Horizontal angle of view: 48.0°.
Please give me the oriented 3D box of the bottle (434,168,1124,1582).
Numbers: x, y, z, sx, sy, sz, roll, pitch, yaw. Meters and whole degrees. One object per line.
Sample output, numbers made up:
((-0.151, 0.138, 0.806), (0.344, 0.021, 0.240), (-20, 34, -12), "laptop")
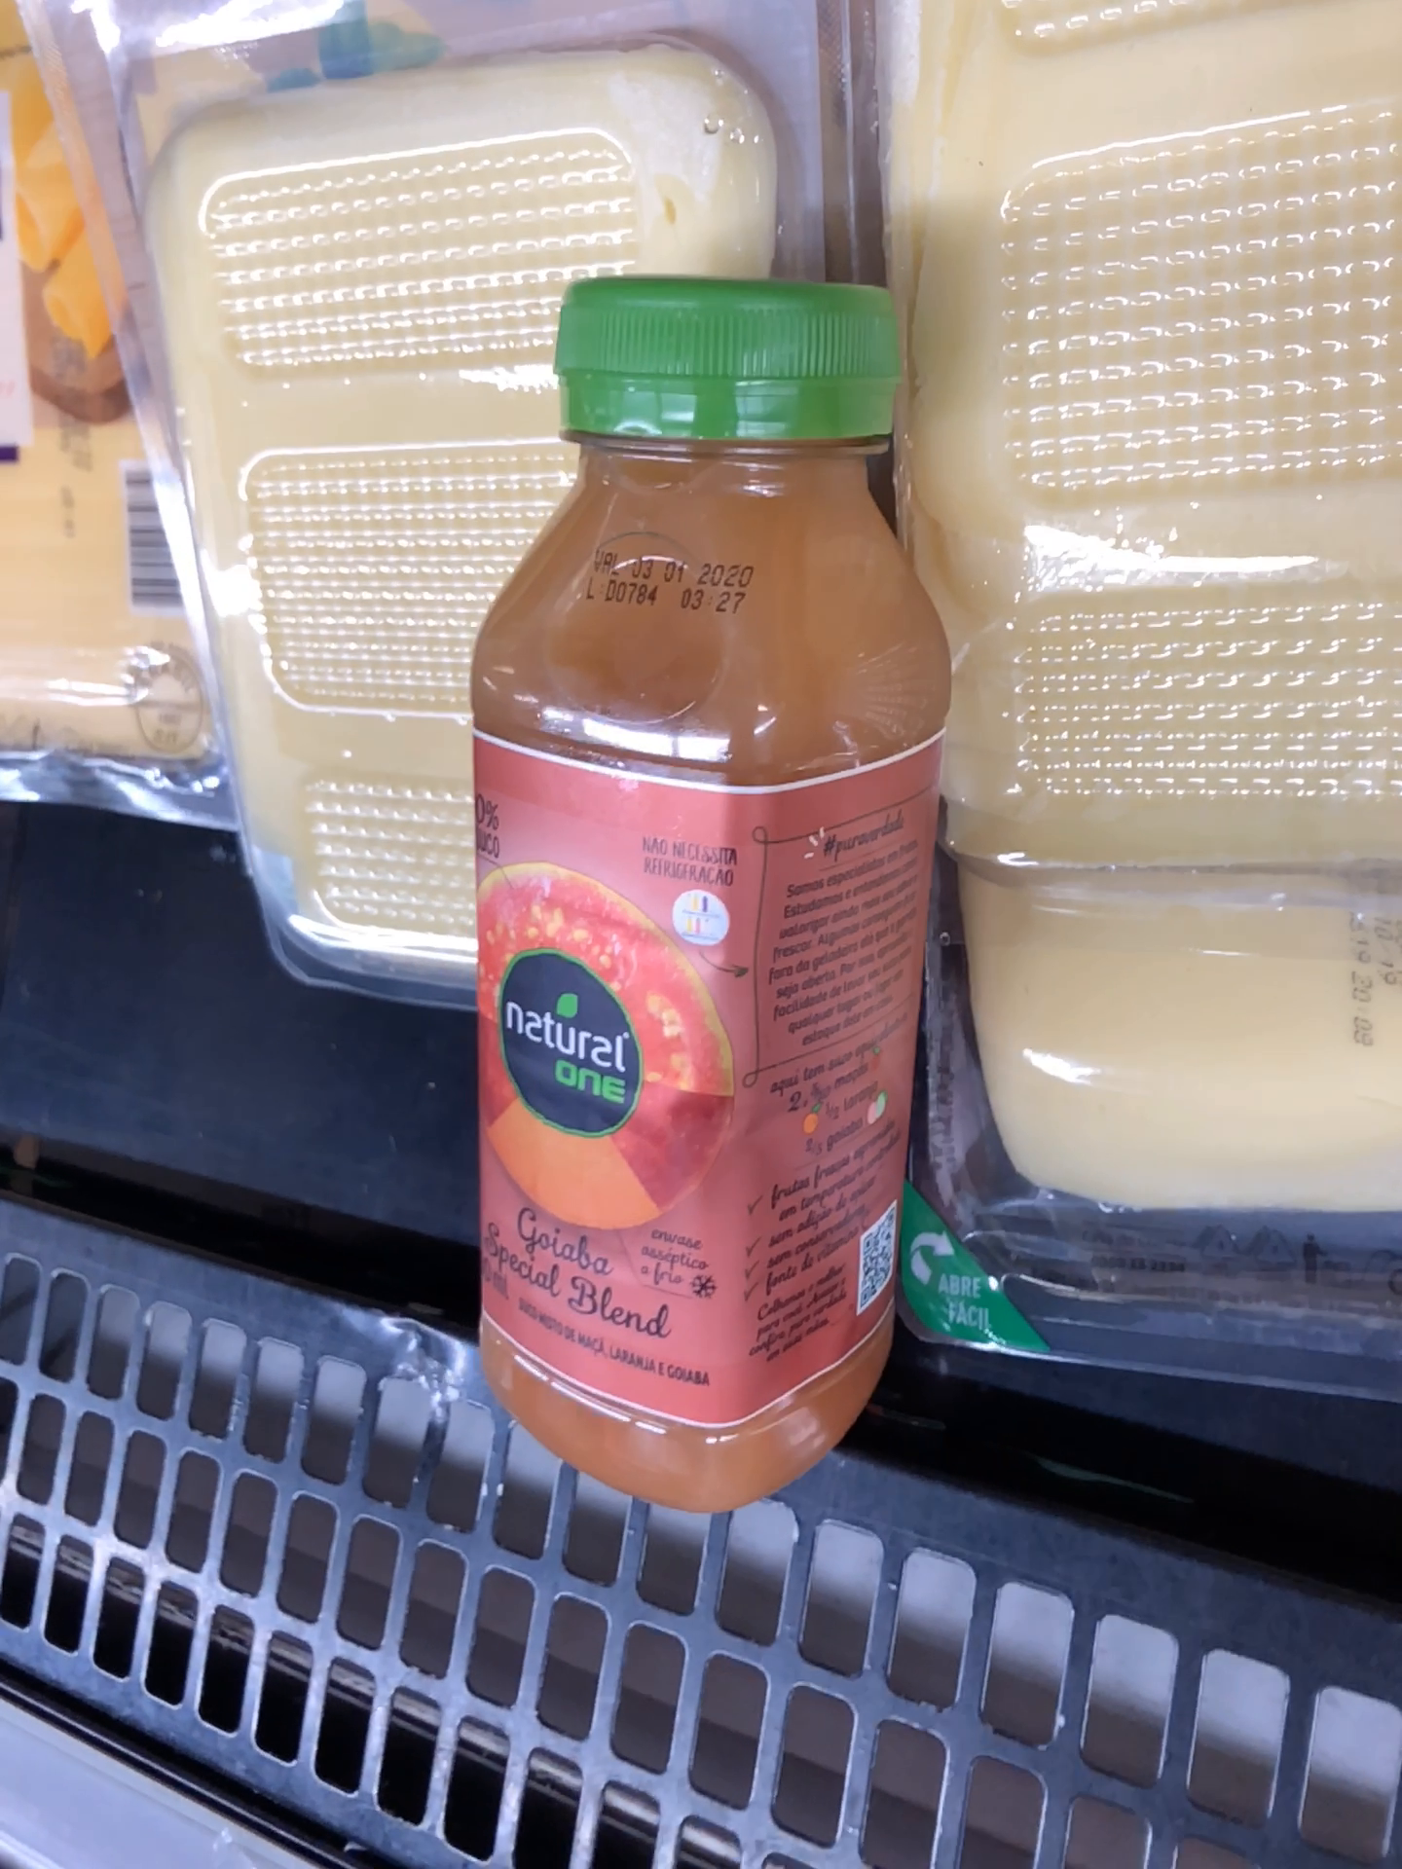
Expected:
((0.010, -0.010, 0.238), (0.060, 0.070, 0.180), (14, 107, 28), "bottle")
